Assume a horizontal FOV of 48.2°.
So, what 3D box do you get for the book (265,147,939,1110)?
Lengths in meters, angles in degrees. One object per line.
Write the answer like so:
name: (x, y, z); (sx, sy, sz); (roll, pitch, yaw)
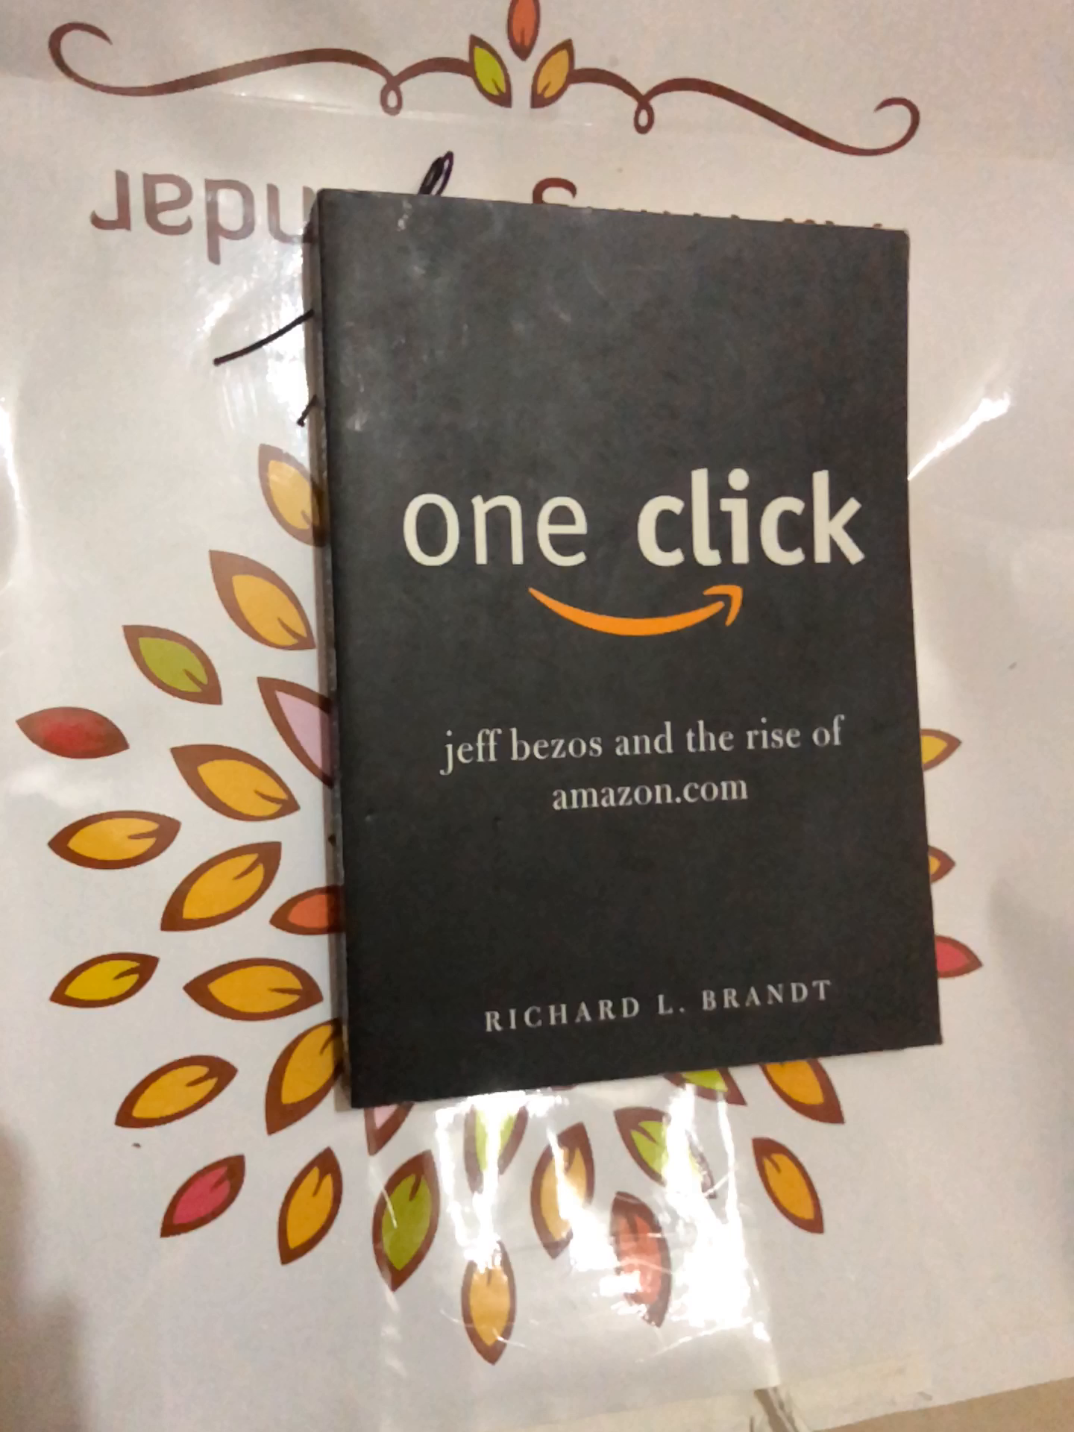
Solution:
book: (0.017, -0.023, 0.299); (0.160, 0.020, 0.220); (-1, 87, -12)
